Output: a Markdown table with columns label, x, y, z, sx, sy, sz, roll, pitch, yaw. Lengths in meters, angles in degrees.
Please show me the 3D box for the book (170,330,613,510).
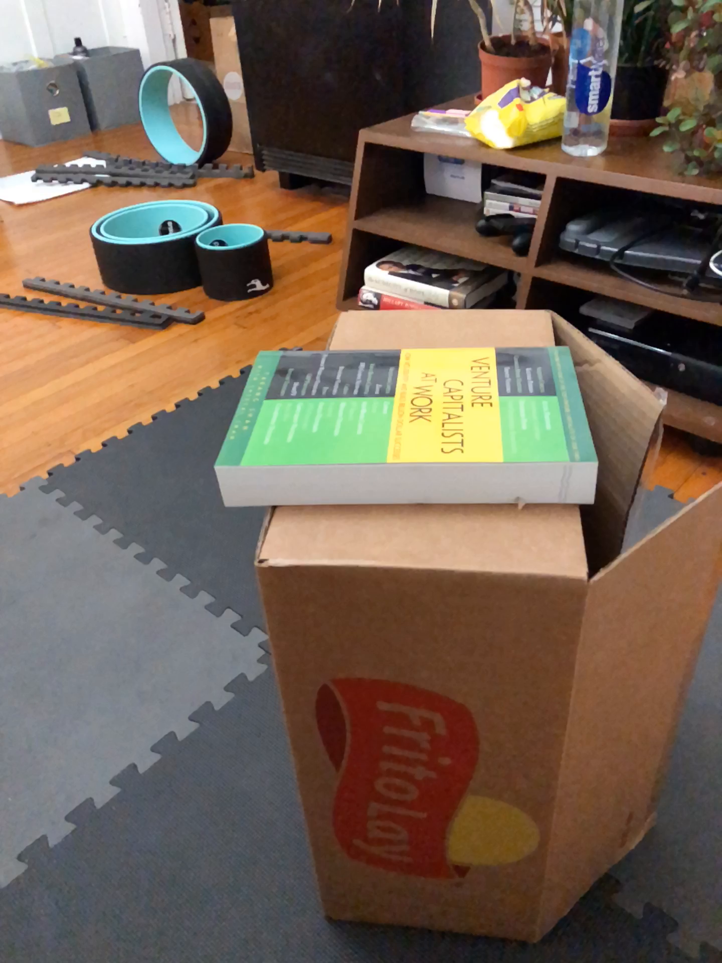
| label | x | y | z | sx | sy | sz | roll | pitch | yaw |
| --- | --- | --- | --- | --- | --- | --- | --- | --- | --- |
| book | 0.023 | -0.047 | 0.538 | 0.260 | 0.040 | 0.161 | 0 | 36 | 8 |
